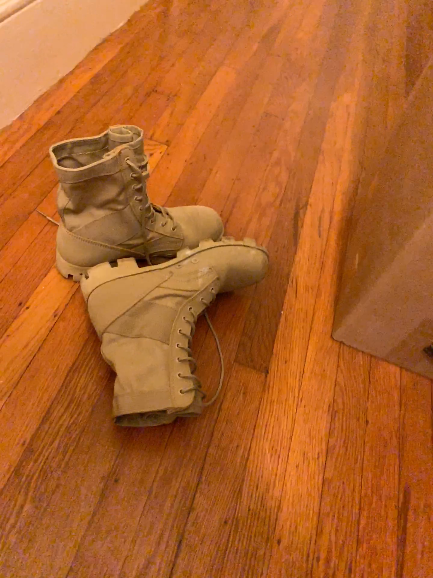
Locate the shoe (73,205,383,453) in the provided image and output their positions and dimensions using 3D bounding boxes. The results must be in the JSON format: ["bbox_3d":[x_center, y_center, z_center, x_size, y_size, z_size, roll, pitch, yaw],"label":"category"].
[{"bbox_3d":[-0.004,0.027,0.578,0.310,0.120,0.251,-9,49,-20],"label":"shoe"}]

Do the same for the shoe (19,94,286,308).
[{"bbox_3d":[-0.100,-0.135,0.653,0.300,0.199,0.191,-12,58,-22],"label":"shoe"}]
